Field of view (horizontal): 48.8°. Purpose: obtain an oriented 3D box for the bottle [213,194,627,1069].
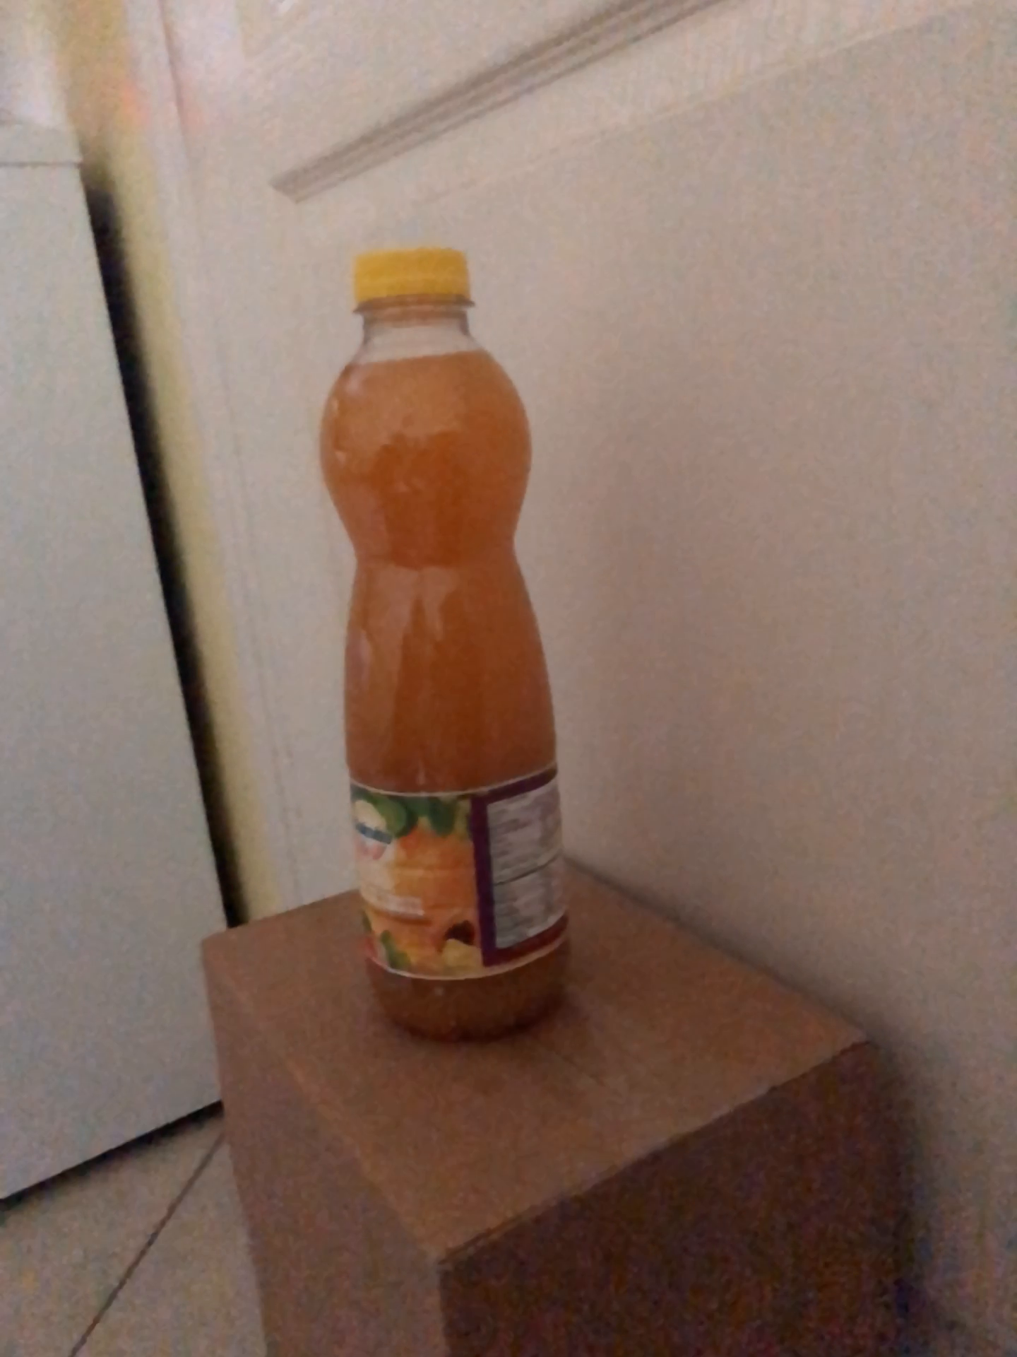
[{"bbox_3d":[-0.026,-0.016,0.402,0.080,0.279,0.080,-6,14,2],"label":"bottle"}]
